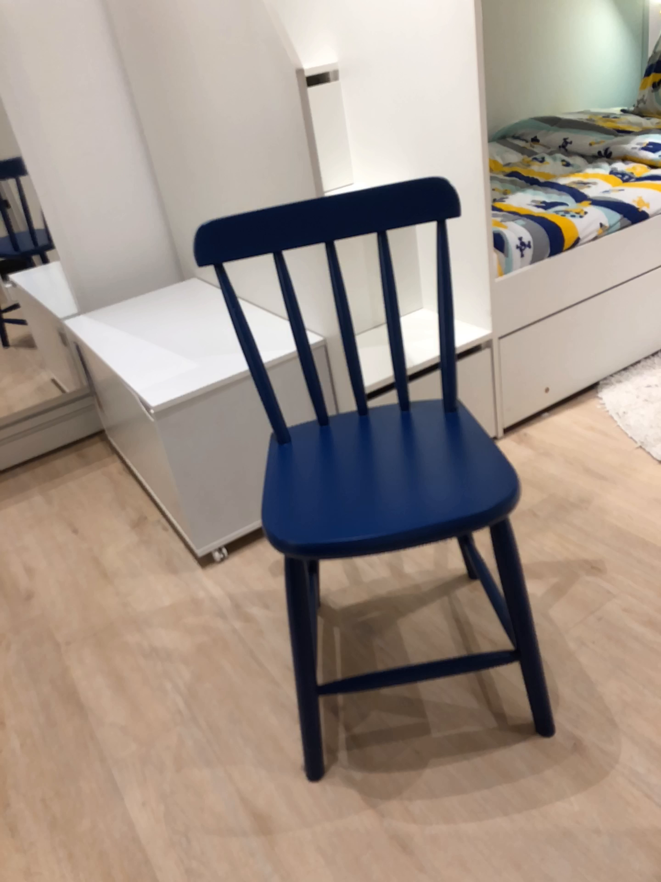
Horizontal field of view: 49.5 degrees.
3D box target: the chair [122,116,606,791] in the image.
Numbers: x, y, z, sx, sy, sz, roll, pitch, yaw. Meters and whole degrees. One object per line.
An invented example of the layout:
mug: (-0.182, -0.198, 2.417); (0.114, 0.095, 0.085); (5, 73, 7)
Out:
chair: (0.080, 0.012, 1.074); (0.460, 0.804, 0.484); (-10, 29, 1)
